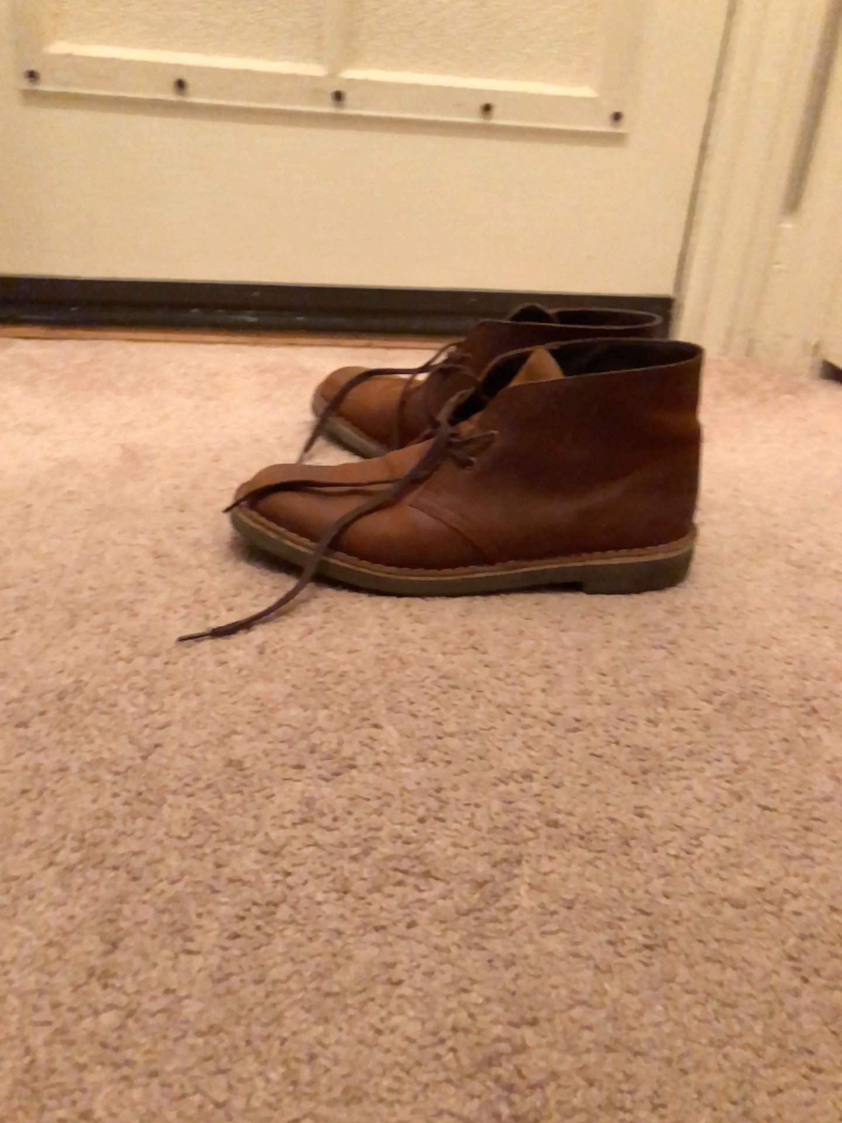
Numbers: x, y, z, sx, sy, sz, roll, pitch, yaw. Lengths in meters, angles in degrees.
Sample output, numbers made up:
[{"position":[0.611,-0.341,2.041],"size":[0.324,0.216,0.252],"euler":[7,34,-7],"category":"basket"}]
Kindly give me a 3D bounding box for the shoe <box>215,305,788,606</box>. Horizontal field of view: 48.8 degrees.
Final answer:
[{"position":[0.036,-0.065,0.555],"size":[0.303,0.138,0.111],"euler":[-1,28,-11],"category":"shoe"}]

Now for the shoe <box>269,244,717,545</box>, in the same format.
[{"position":[0.041,-0.137,0.692],"size":[0.303,0.138,0.111],"euler":[19,30,26],"category":"shoe"}]
